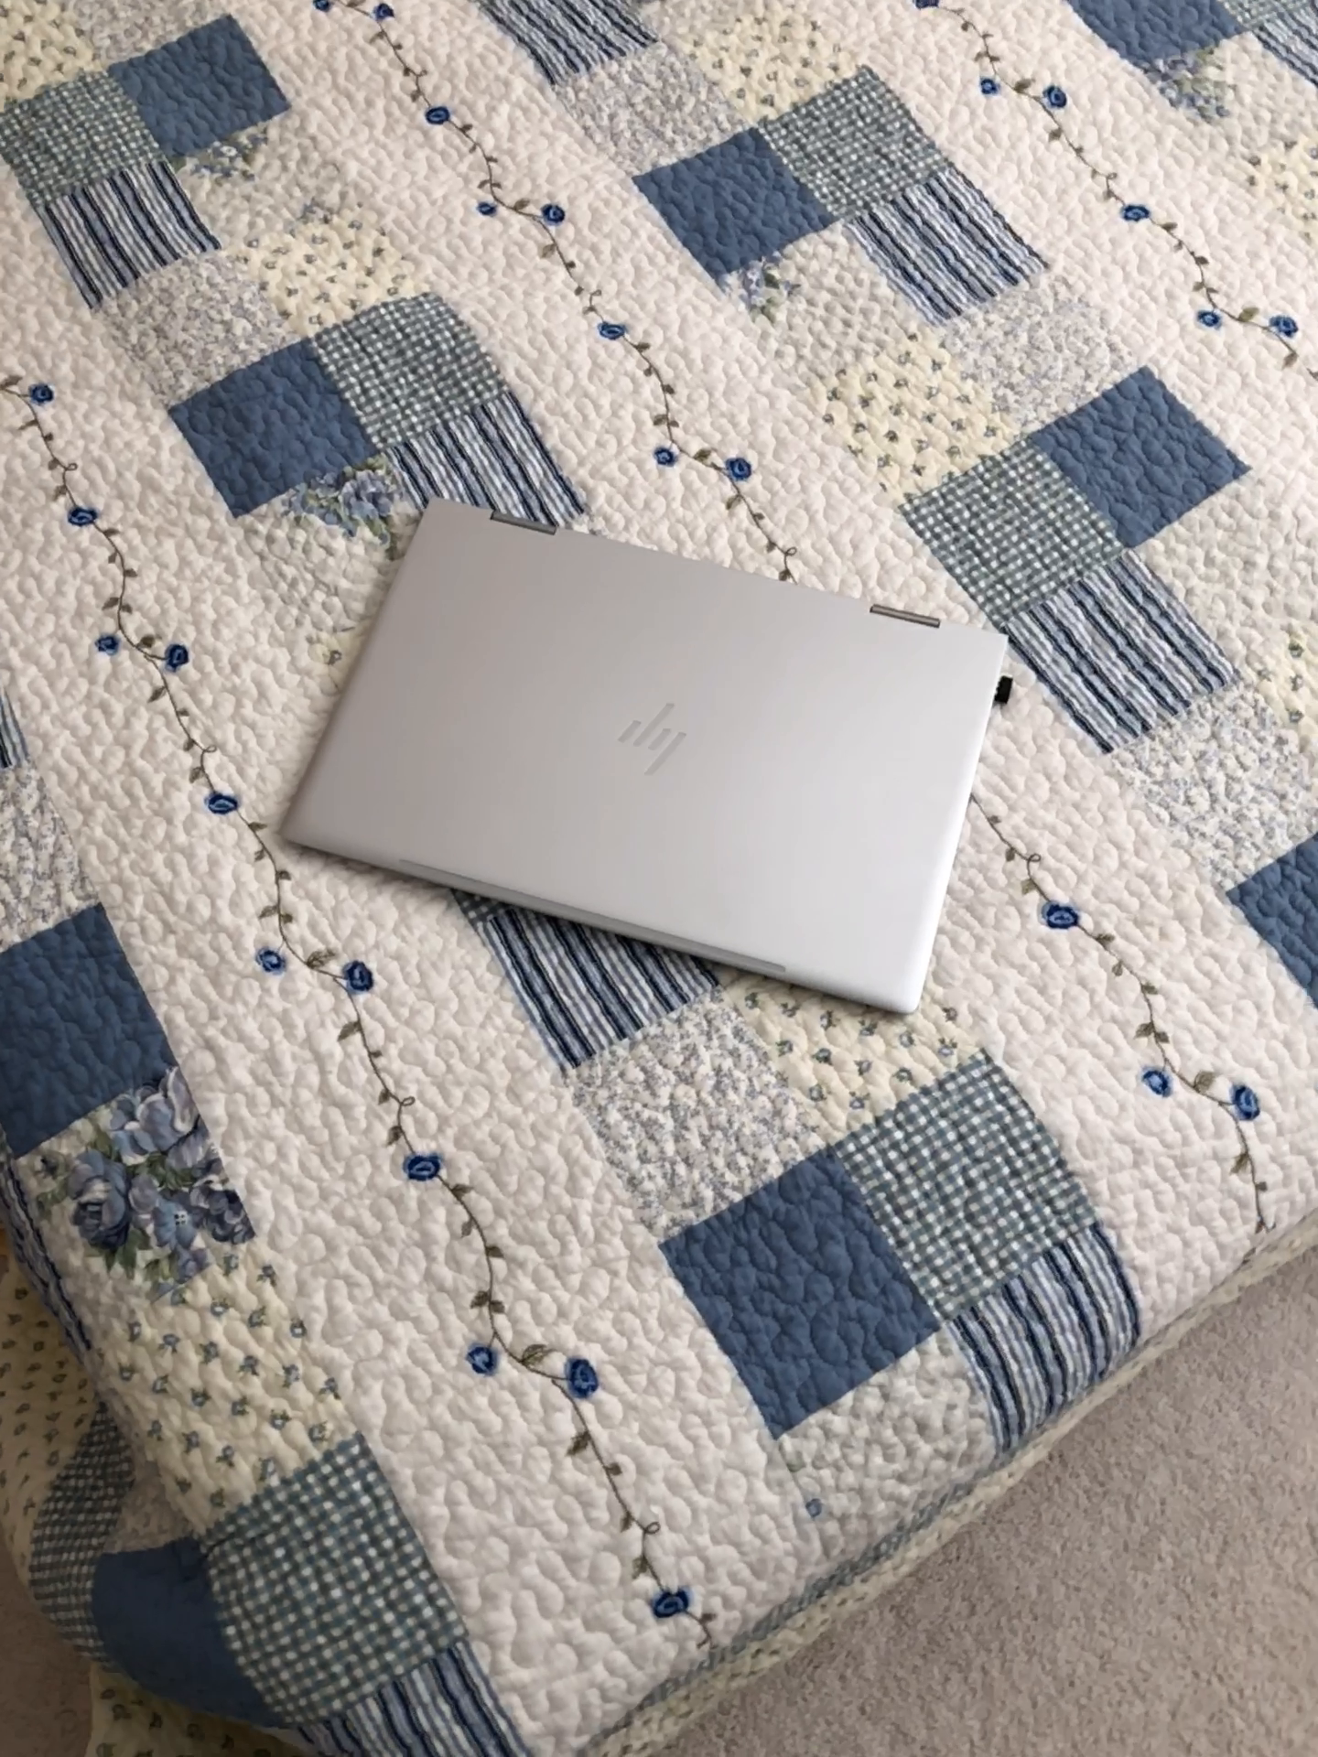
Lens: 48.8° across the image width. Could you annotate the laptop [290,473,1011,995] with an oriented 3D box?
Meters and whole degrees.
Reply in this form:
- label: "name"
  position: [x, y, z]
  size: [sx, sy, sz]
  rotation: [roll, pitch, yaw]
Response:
- label: "laptop"
  position: [0.000, -0.101, 0.892]
  size: [0.386, 0.011, 0.256]
  rotation: [15, 68, 8]
